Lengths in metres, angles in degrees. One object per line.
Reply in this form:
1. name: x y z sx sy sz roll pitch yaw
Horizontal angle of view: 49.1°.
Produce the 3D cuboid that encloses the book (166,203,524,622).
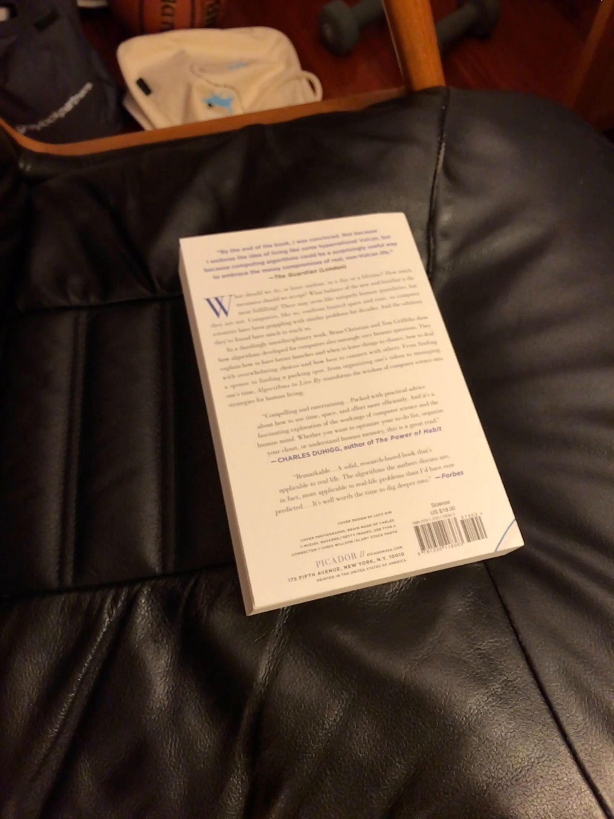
1. book: 0.013 -0.015 0.418 0.160 0.020 0.251 -11 66 -10
